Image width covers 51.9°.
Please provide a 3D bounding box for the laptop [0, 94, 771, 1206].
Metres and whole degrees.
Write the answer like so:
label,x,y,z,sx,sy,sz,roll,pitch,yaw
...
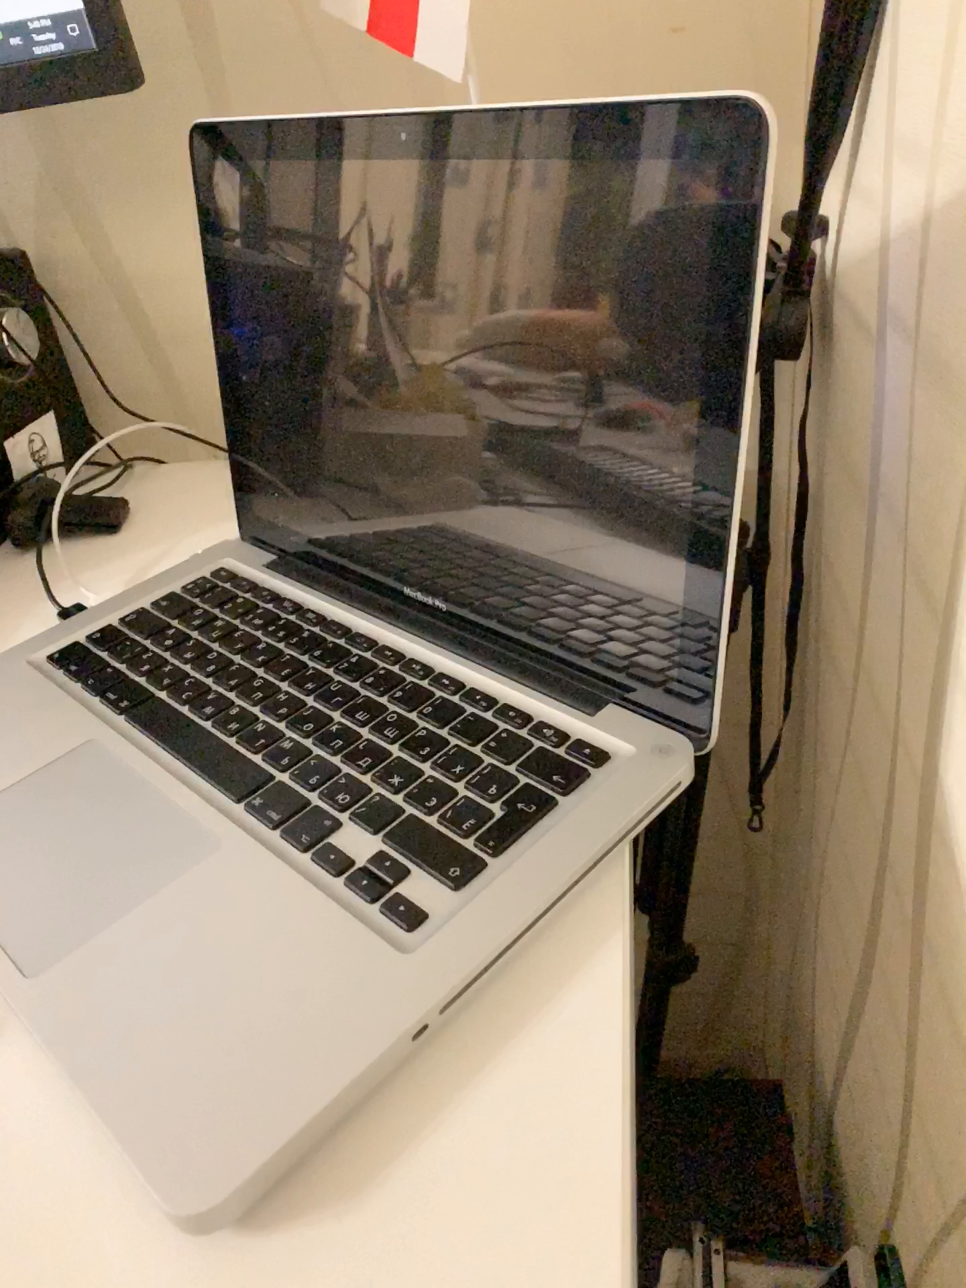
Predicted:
label,x,y,z,sx,sy,sz,roll,pitch,yaw
laptop,-0.101,-0.052,0.354,0.302,0.196,0.249,23,45,40
